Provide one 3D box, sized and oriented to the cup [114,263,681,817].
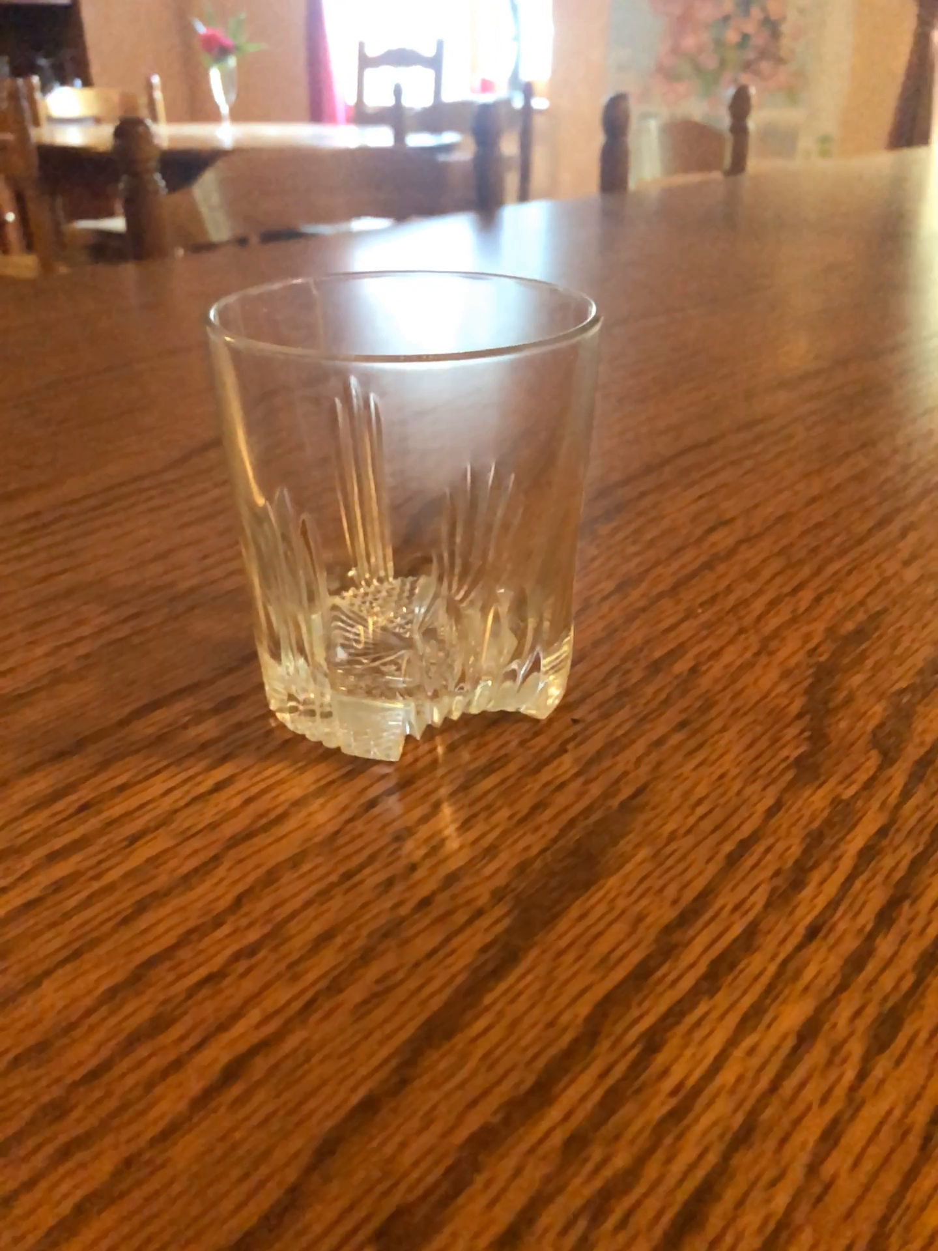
[{"bbox_3d":[-0.011,-0.027,0.231,0.080,0.084,0.085,0,27,0],"label":"cup"}]
